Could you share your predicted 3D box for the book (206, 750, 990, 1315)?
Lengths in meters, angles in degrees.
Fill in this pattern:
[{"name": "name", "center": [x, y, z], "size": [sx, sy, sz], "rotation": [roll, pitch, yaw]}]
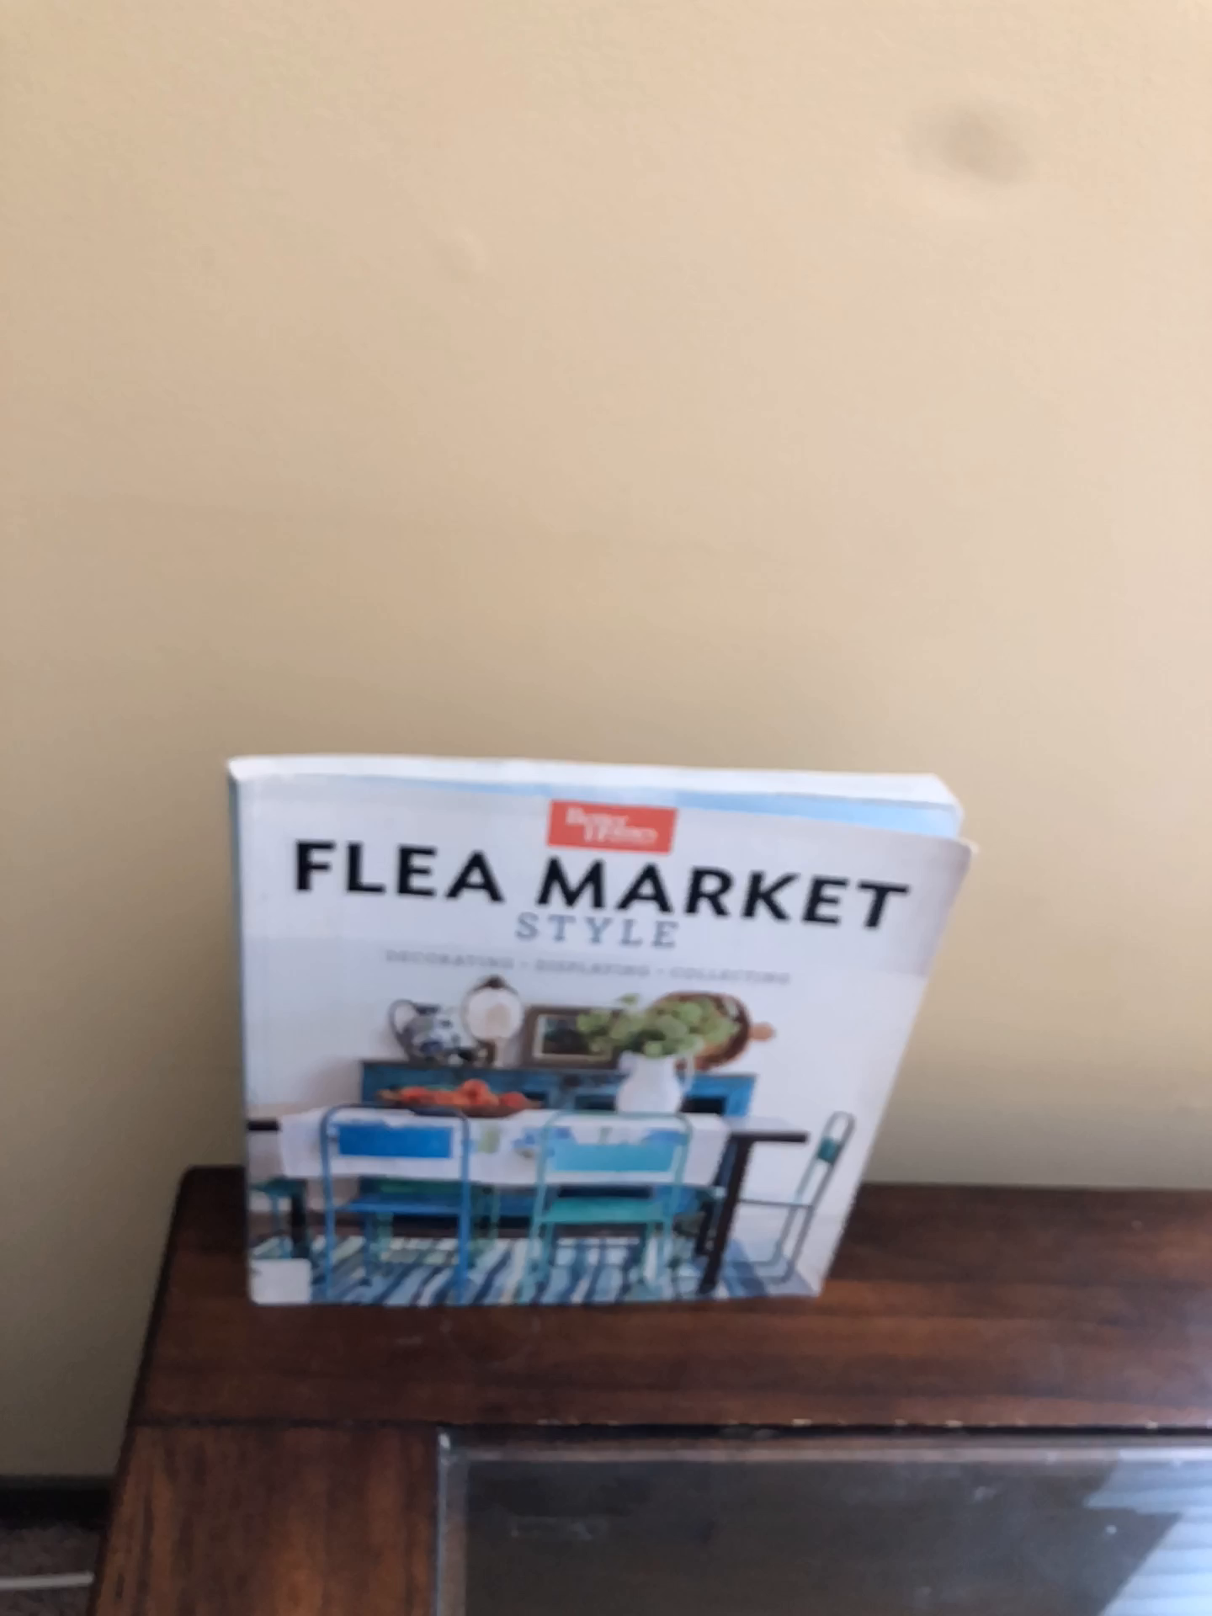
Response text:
[{"name": "book", "center": [-0.013, 0.092, 0.482], "size": [0.233, 0.239, 0.032], "rotation": [2, 36, -9]}]
